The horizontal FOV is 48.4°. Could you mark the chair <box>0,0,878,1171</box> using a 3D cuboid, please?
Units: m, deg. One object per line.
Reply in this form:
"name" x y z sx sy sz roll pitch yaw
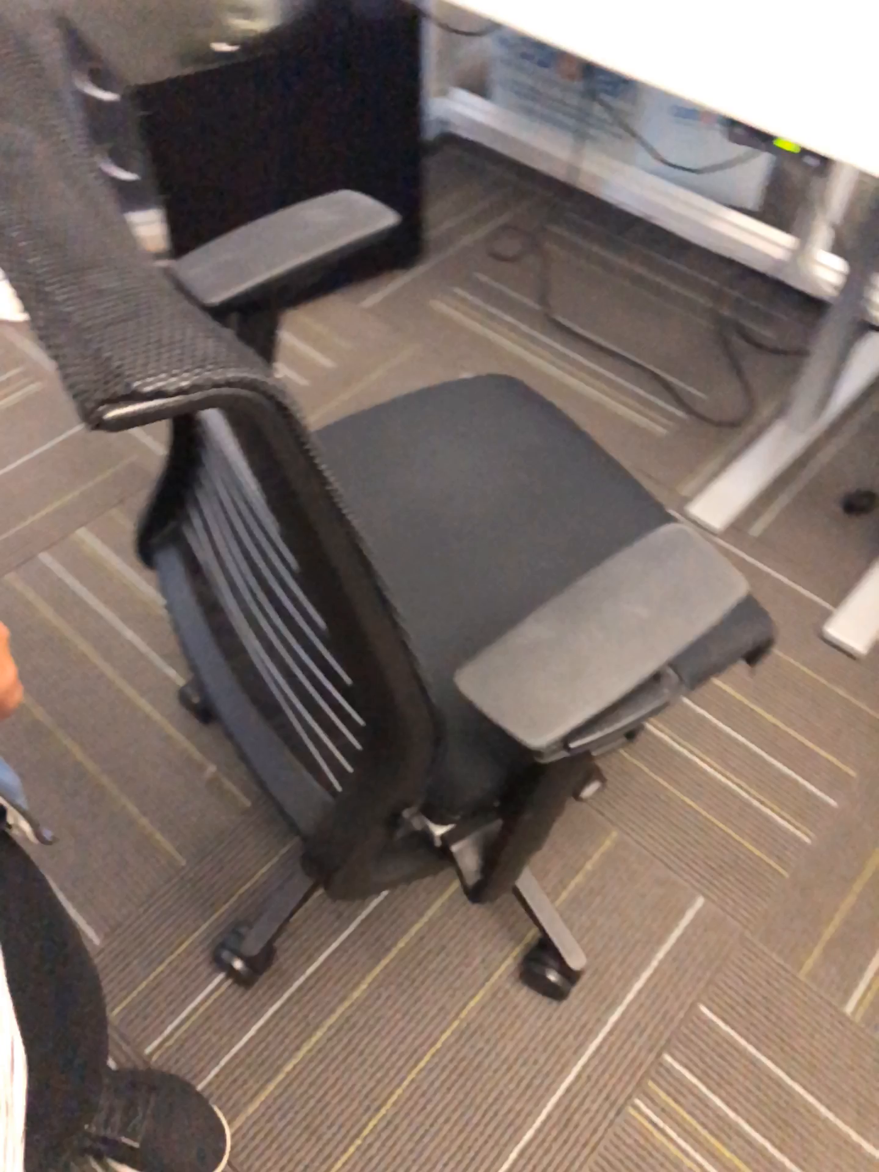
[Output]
"chair" -0.049 -0.061 0.960 0.661 0.997 0.752 -27 57 -21
